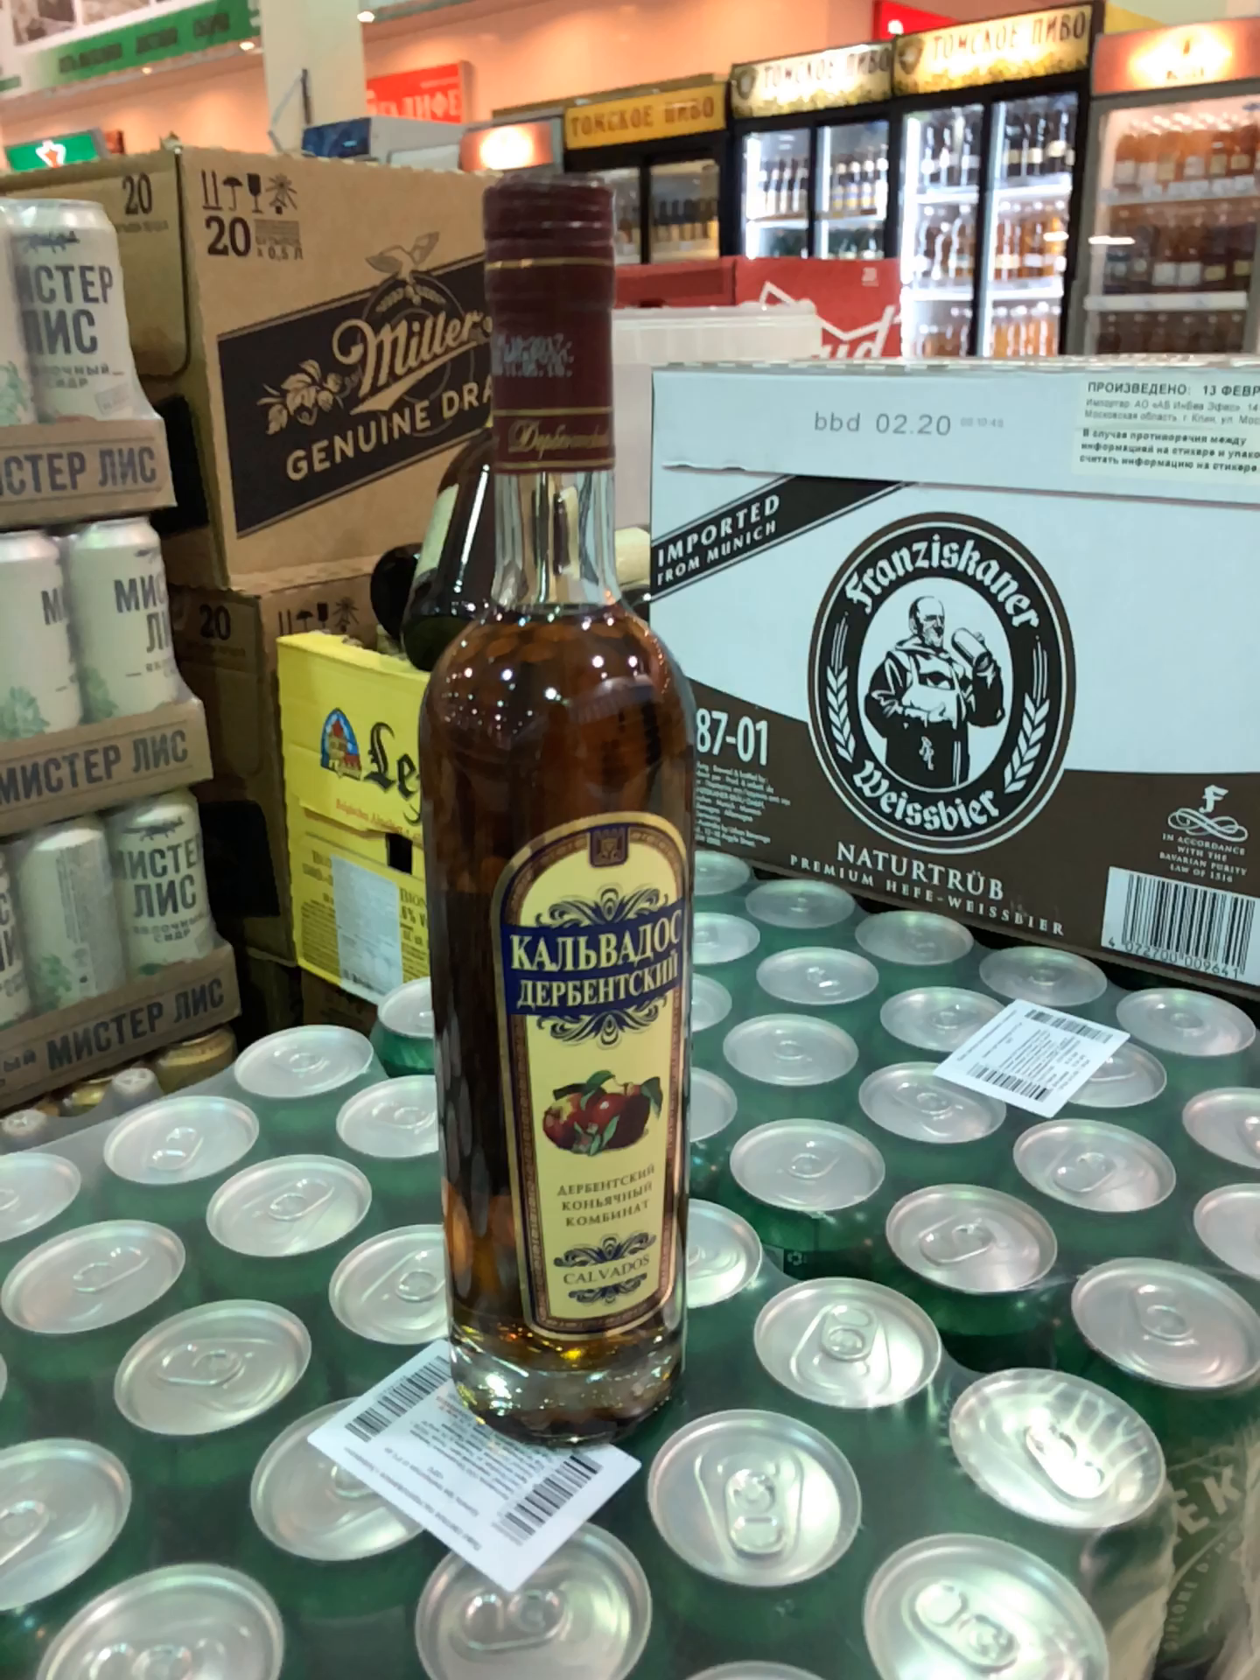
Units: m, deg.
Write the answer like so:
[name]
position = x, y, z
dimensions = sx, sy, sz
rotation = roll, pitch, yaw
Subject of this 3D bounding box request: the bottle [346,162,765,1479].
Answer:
[bottle]
position = -0.016, 0.003, 0.340
dimensions = 0.070, 0.298, 0.070
rotation = -1, 19, 0
